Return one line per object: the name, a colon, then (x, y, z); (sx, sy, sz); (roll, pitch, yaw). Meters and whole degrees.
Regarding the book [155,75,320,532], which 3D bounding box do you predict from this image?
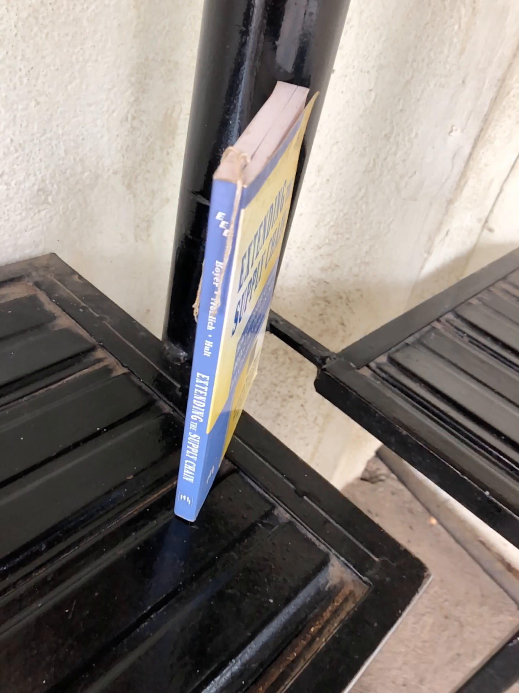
book: (-0.015, -0.023, 0.346); (0.030, 0.229, 0.151); (15, 37, 5)
